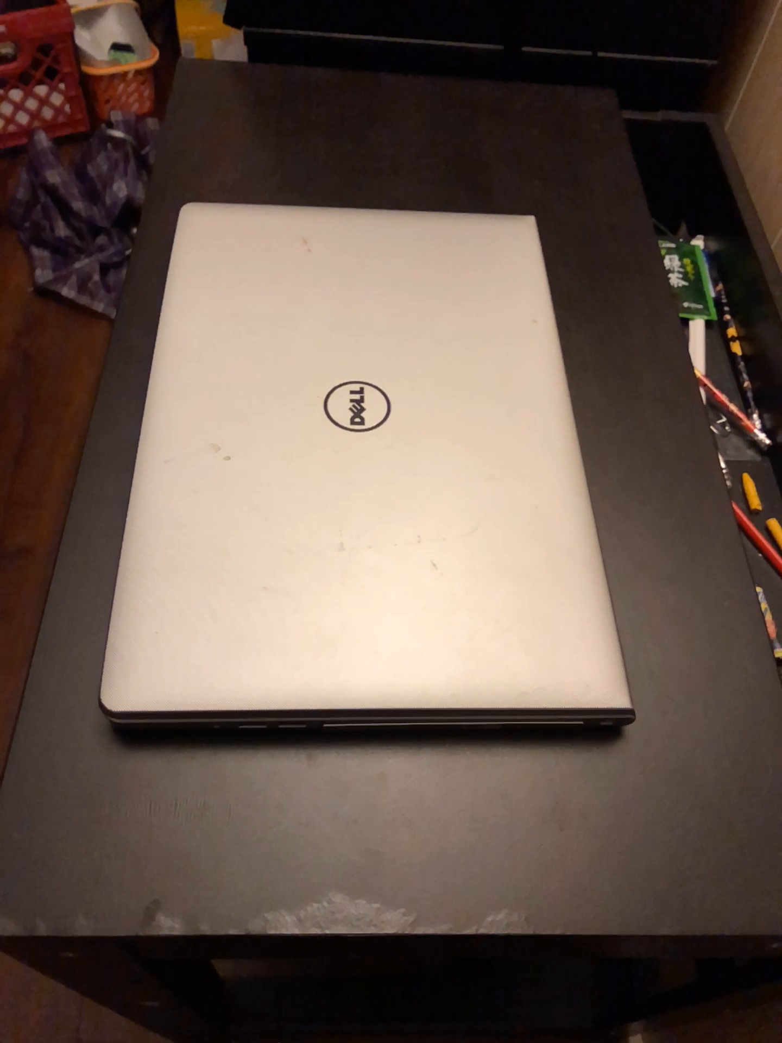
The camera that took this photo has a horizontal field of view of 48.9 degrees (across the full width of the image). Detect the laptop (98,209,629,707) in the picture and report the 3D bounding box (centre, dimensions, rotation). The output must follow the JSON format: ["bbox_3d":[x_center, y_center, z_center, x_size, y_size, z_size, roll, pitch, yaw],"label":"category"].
[{"bbox_3d":[-0.015,-0.067,0.511,0.249,0.003,0.372,1,55,-4],"label":"laptop"}]
